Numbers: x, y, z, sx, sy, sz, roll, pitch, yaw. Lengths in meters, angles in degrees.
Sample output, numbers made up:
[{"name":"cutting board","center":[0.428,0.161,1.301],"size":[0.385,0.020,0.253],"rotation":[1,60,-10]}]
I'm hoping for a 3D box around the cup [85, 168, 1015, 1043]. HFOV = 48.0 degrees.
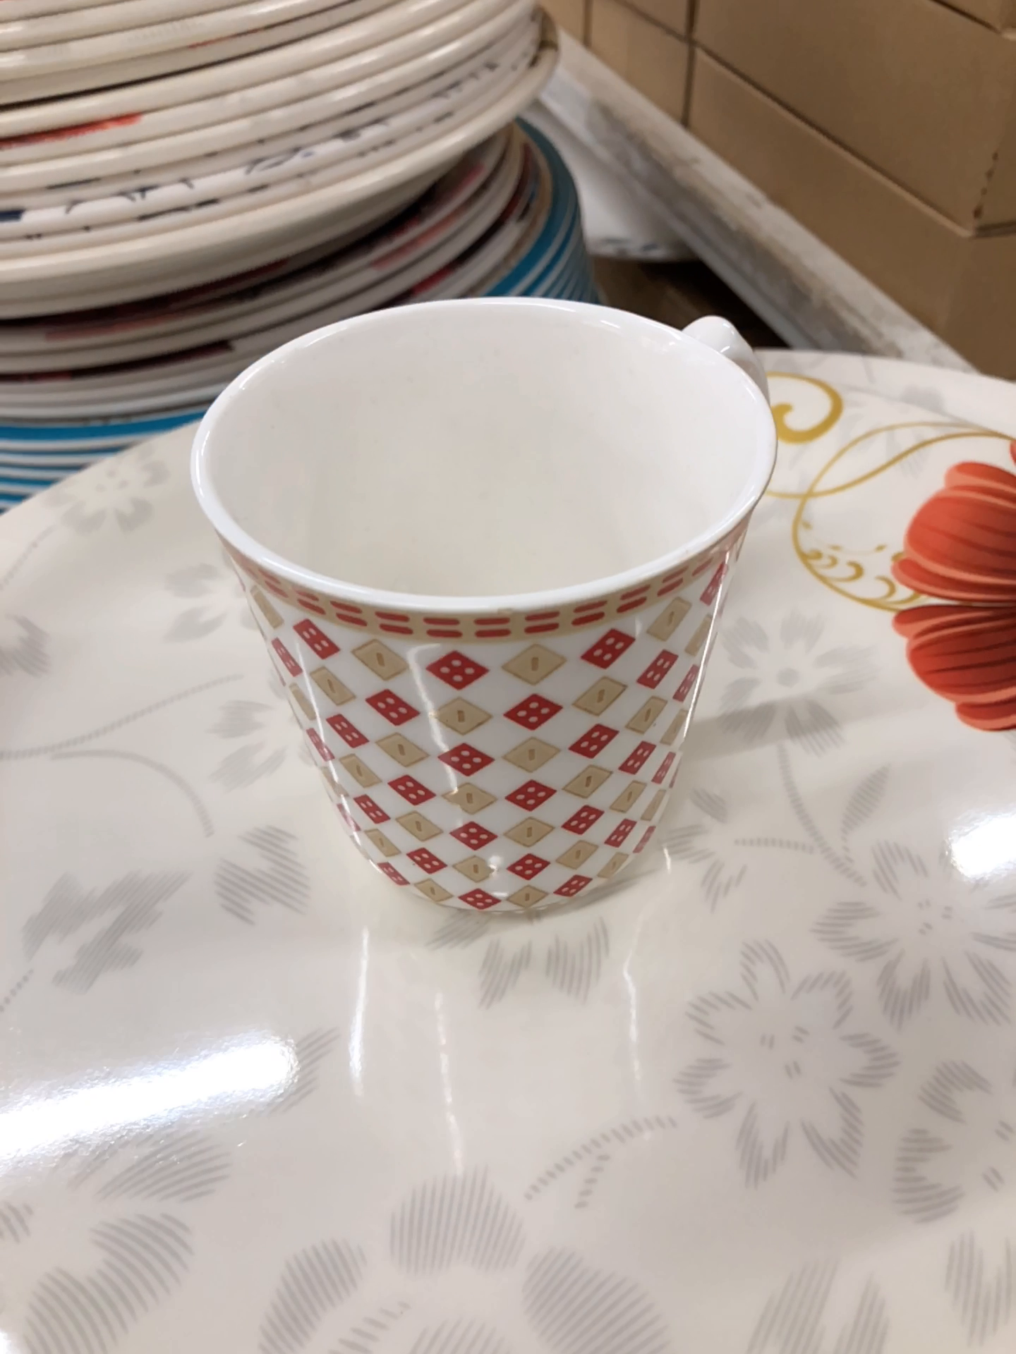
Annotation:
[{"name":"cup","center":[0.011,-0.020,0.195],"size":[0.120,0.080,0.080],"rotation":[-27,50,-24]}]
